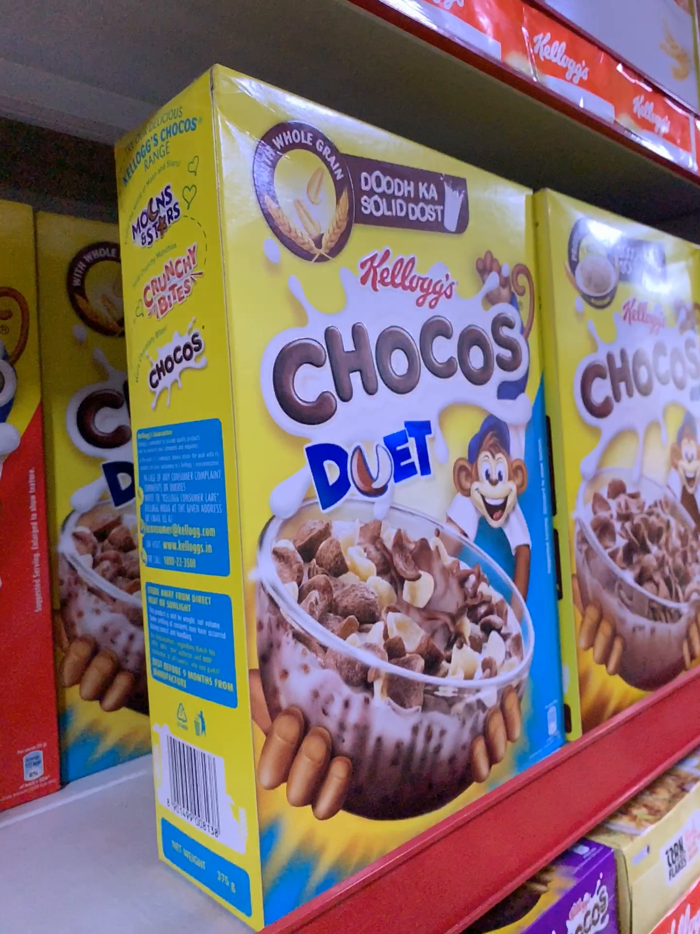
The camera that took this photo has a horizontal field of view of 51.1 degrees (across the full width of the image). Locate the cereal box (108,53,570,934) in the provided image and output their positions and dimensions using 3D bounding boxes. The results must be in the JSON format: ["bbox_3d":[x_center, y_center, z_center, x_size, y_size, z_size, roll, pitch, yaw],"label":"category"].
[{"bbox_3d":[0.008,0.007,0.283,0.170,0.250,0.060,-4,0,-45],"label":"cereal box"}]
